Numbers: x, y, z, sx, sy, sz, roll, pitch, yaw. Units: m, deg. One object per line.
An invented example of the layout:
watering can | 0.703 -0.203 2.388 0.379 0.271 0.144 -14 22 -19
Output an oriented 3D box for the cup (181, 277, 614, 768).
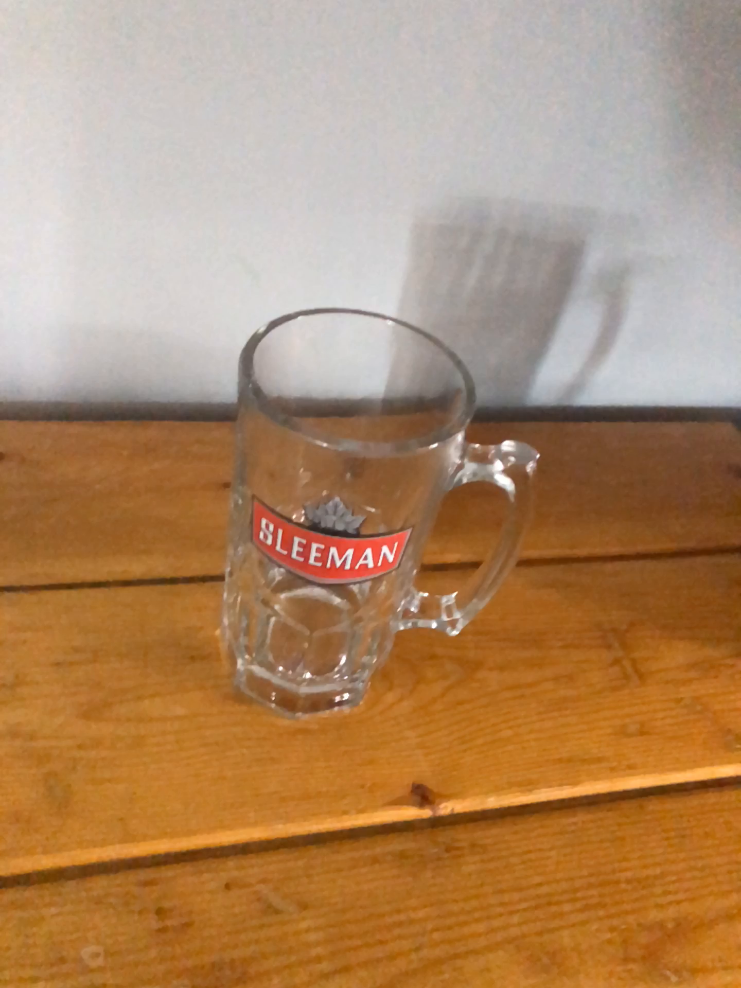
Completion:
cup | -0.001 0.026 0.414 0.160 0.209 0.110 11 45 -4
